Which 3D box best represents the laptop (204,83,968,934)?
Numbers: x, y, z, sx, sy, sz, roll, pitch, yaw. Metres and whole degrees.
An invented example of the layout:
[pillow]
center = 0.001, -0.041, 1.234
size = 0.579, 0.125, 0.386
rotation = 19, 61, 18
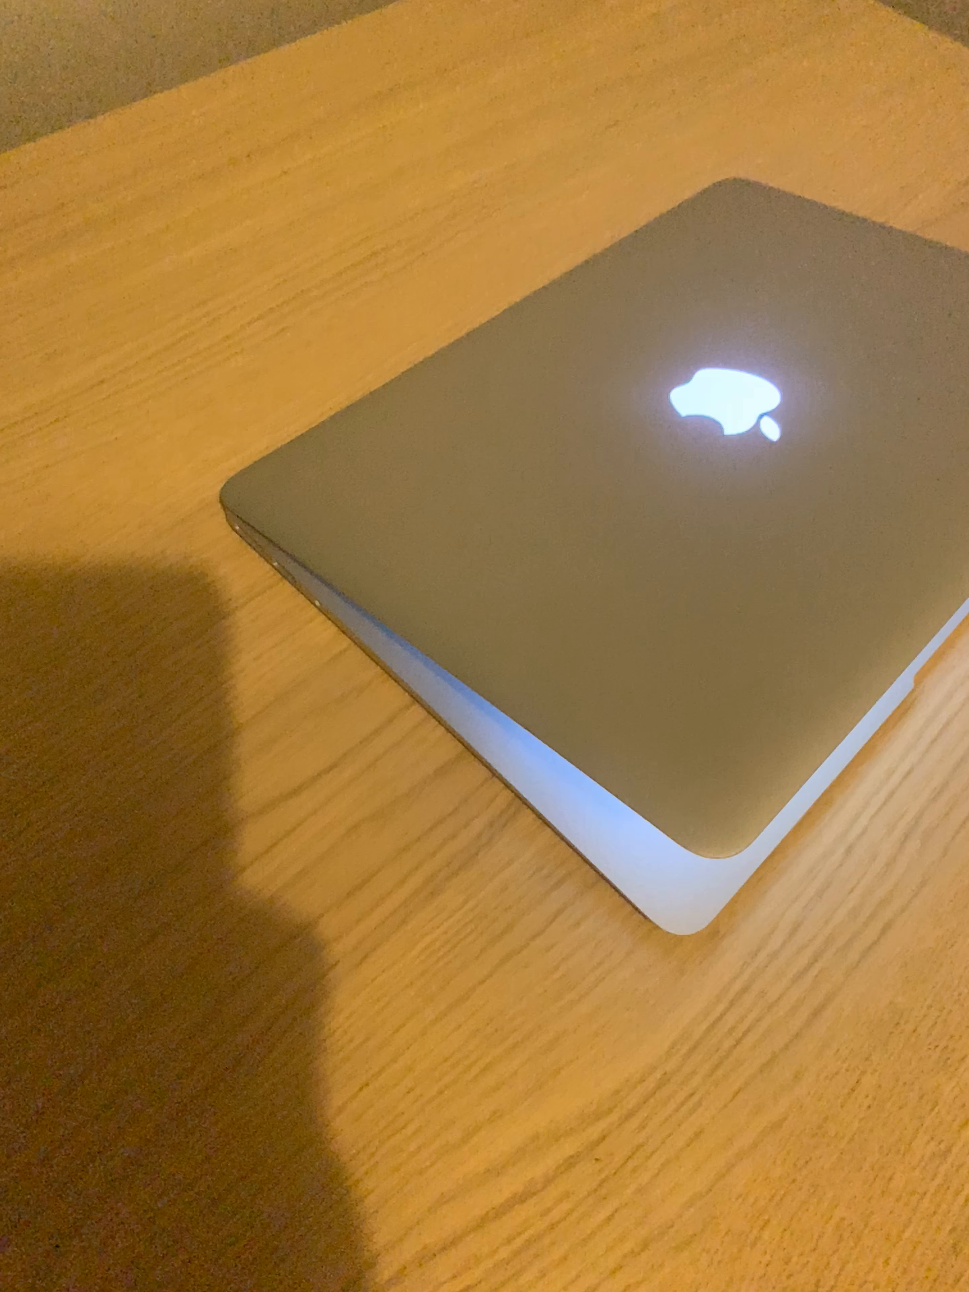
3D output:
[laptop]
center = 0.094, -0.089, 0.380
size = 0.218, 0.048, 0.320
rotation = 41, 63, 19
